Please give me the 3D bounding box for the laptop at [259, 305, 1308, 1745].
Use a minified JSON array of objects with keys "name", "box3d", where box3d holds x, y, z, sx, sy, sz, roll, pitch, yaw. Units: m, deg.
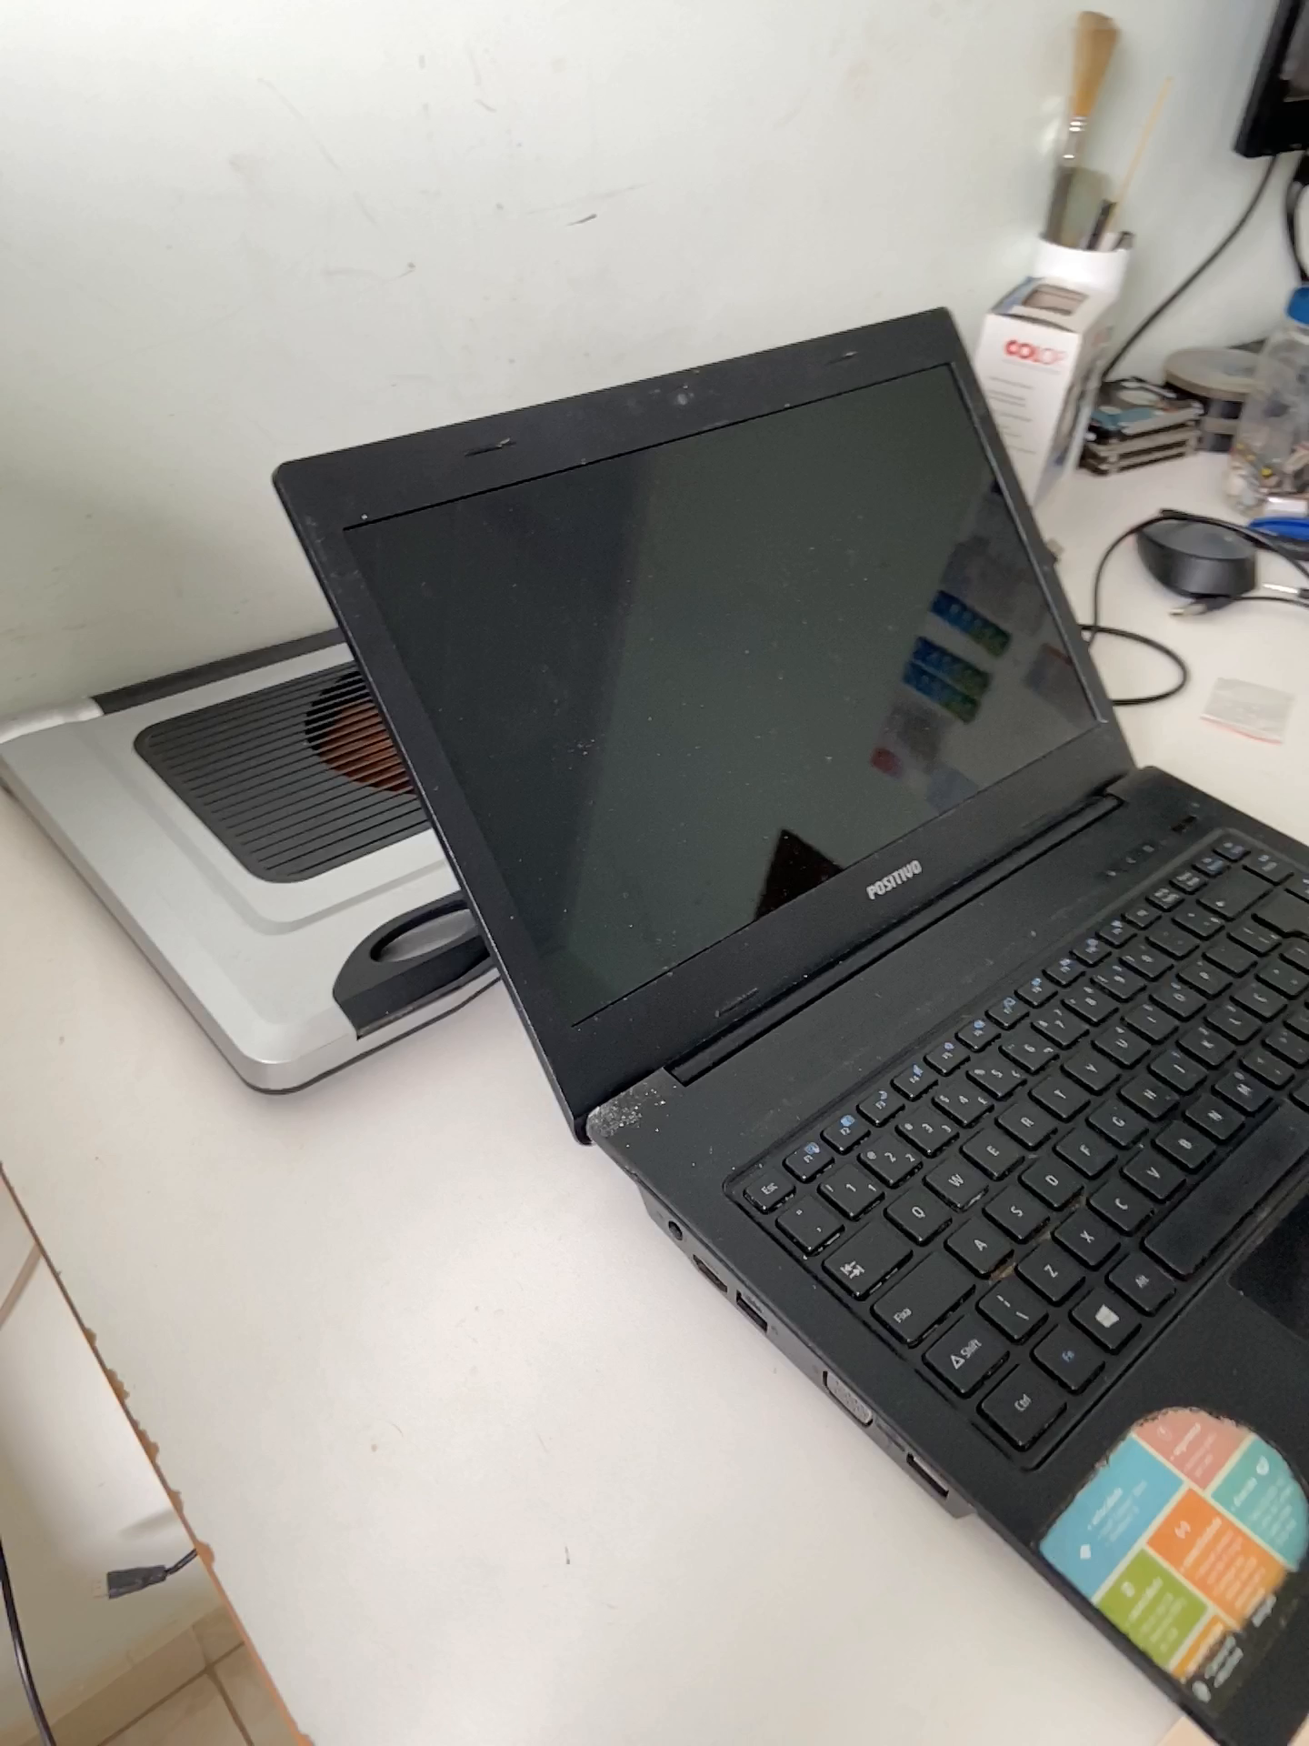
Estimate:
[{"name":"laptop","box3d":[0.130,-0.028,0.446,0.335,0.162,0.393,-27,48,-34]}]
